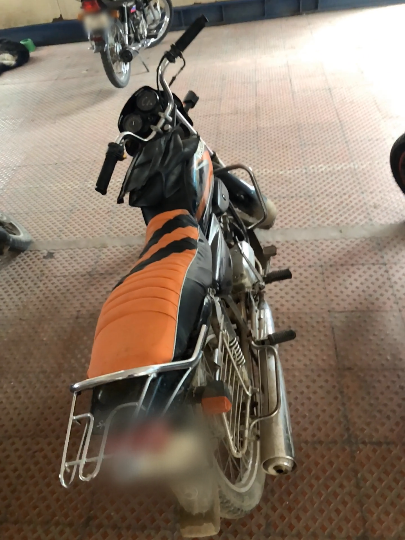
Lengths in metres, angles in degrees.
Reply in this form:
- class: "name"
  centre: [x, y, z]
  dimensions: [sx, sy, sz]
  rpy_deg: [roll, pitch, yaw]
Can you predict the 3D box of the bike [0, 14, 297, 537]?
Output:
- class: "bike"
  centre: [-0.174, -0.041, 1.530]
  dimensions: [0.688, 1.124, 1.409]
  rpy_deg: [-6, 42, 4]
